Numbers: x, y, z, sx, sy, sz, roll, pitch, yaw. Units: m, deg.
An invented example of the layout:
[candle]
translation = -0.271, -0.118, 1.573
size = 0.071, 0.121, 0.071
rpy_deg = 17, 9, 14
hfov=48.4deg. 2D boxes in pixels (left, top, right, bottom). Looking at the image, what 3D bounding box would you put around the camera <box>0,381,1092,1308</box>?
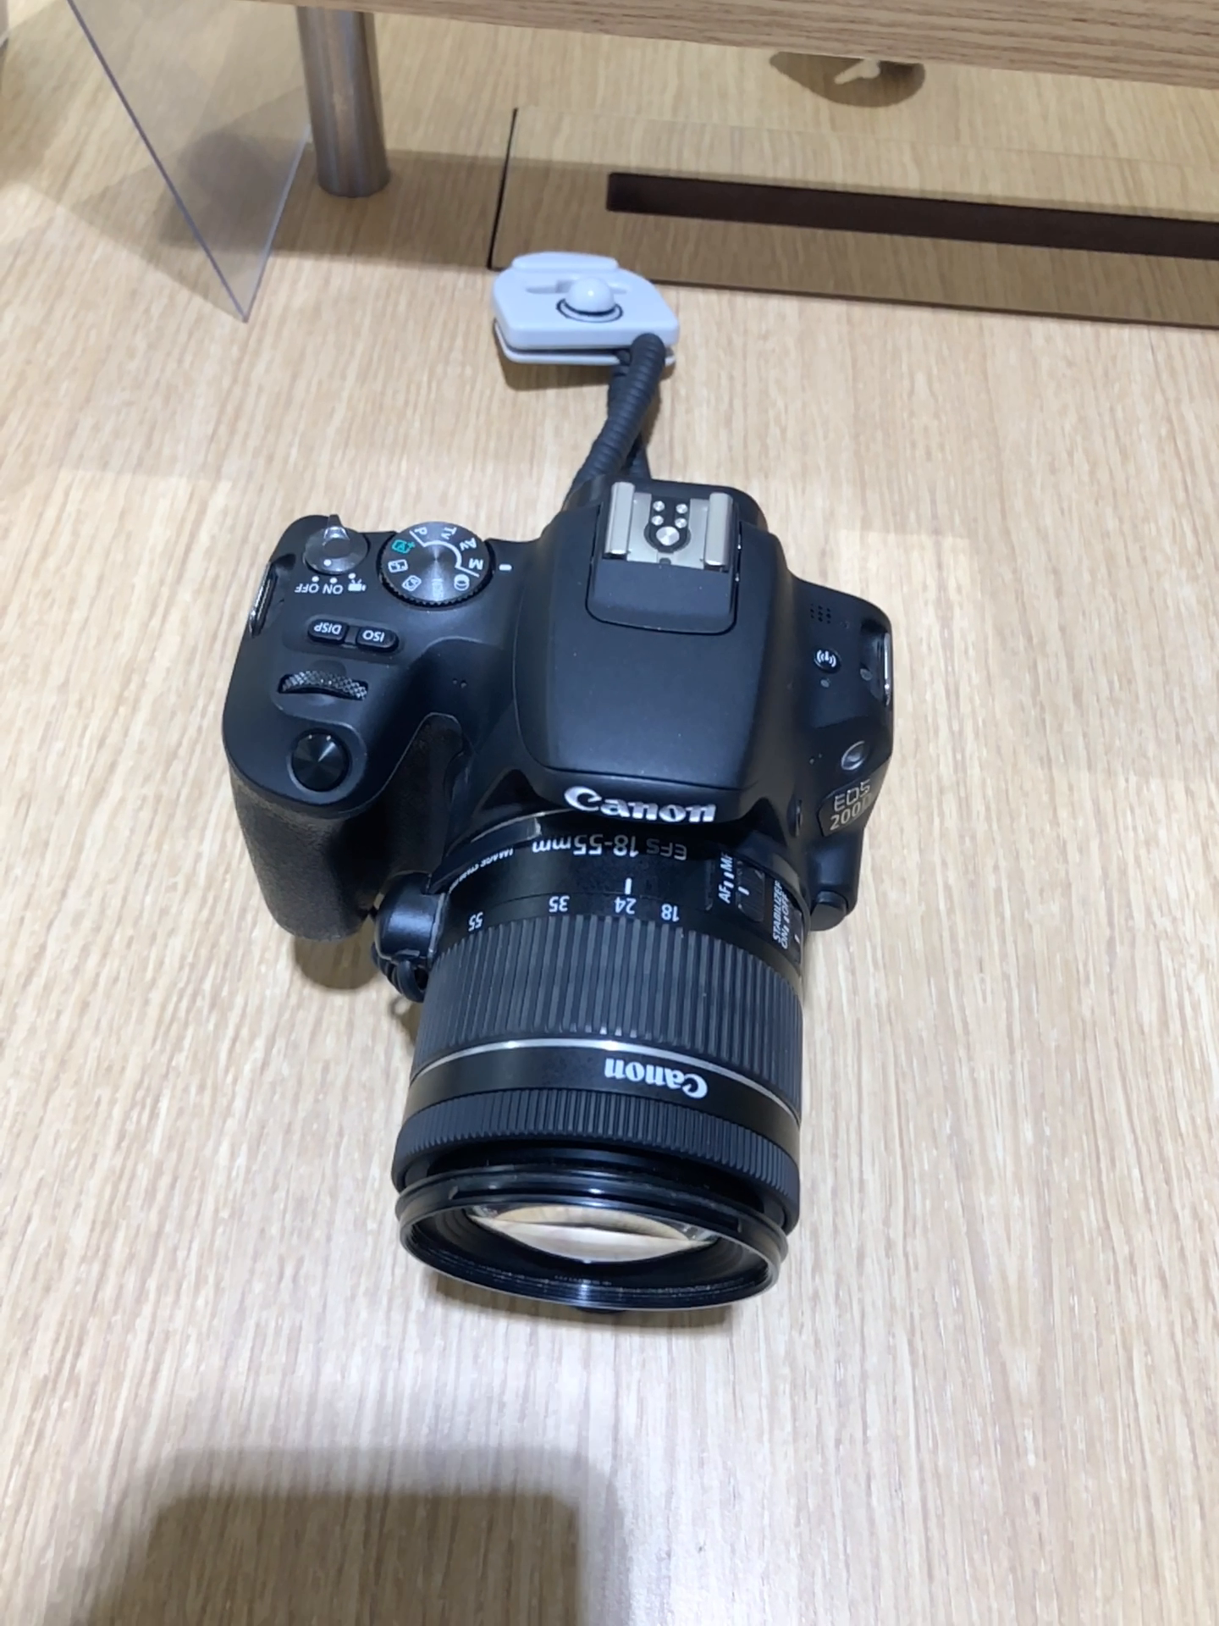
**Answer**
[camera]
translation = -0.007, 0.006, 0.220
size = 0.130, 0.080, 0.115
rpy_deg = 5, 57, 0
